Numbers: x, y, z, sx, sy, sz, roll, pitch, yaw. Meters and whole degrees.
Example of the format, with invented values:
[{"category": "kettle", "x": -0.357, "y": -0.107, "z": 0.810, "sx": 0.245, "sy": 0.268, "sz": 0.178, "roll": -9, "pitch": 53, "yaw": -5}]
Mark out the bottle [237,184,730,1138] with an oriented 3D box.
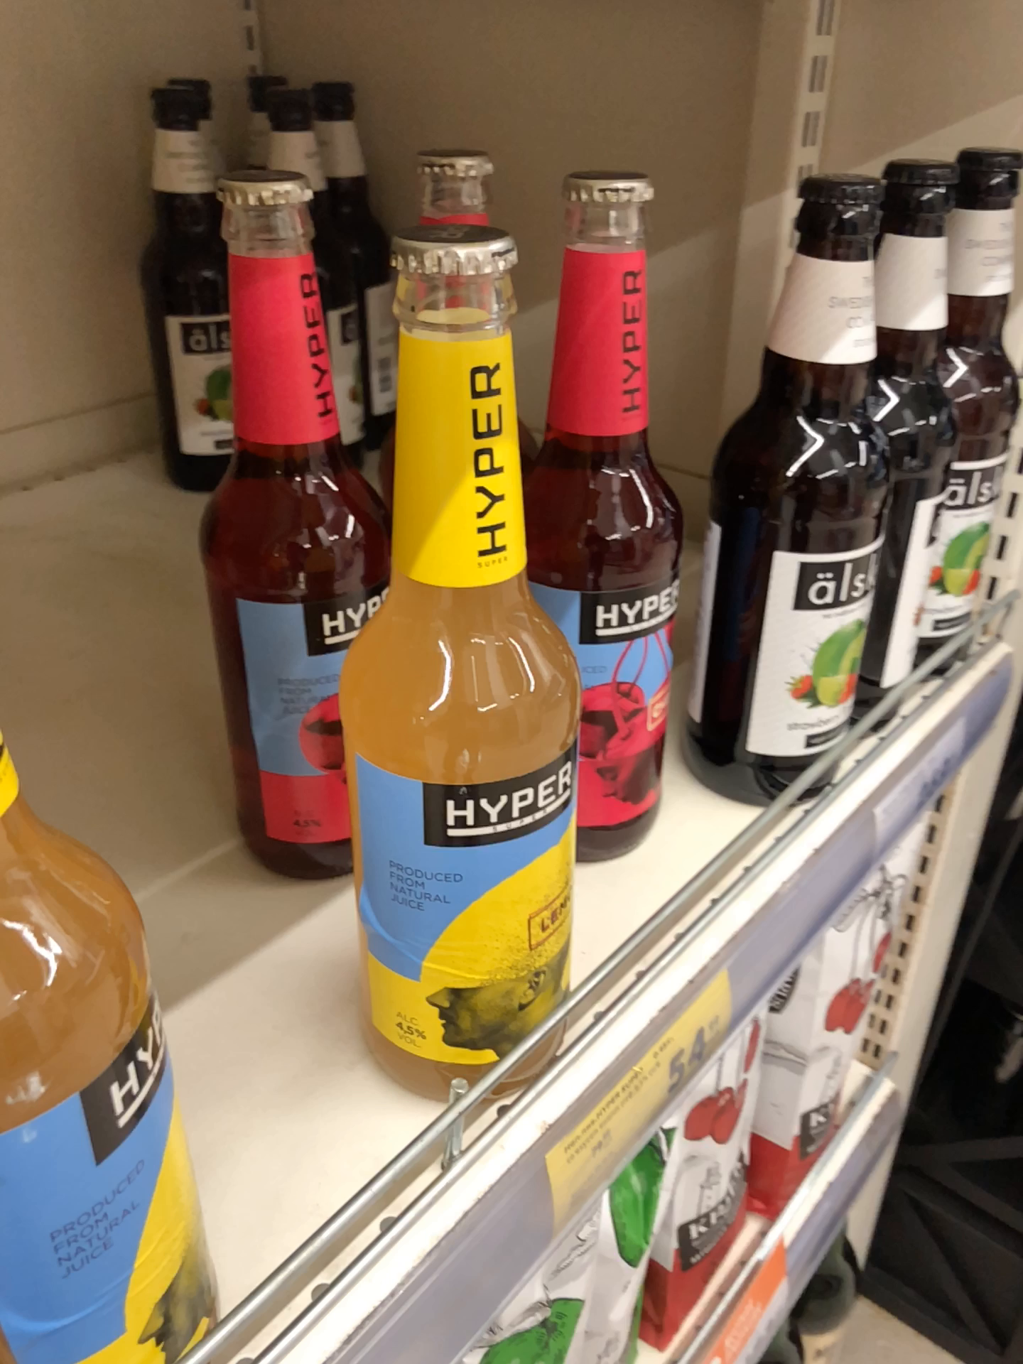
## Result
[{"category": "bottle", "x": -0.009, "y": -0.001, "z": 0.312, "sx": 0.080, "sy": 0.239, "sz": 0.080, "roll": 0, "pitch": 30, "yaw": 0}]
